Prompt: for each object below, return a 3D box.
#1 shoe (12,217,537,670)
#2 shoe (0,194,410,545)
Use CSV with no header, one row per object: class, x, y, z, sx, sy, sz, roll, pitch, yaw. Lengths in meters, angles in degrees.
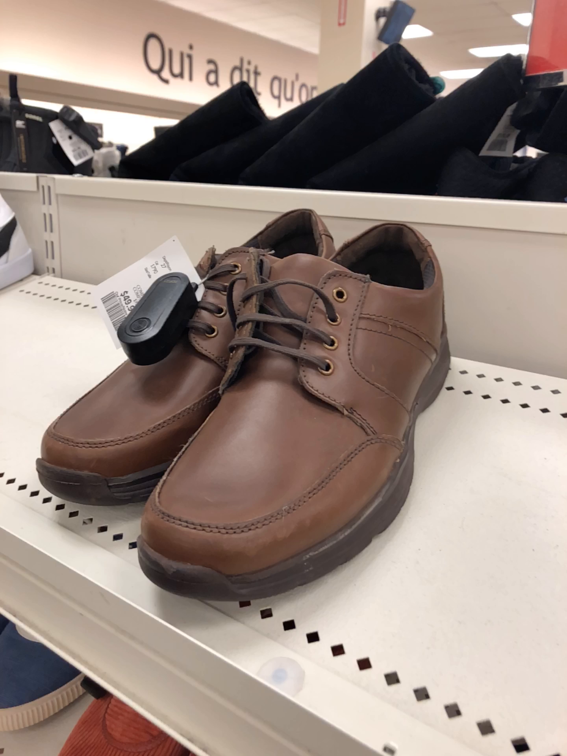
shoe,0.039,-0.015,0.361,0.120,0.109,0.342,12,24,30
shoe,-0.041,-0.043,0.422,0.120,0.109,0.332,13,28,32
